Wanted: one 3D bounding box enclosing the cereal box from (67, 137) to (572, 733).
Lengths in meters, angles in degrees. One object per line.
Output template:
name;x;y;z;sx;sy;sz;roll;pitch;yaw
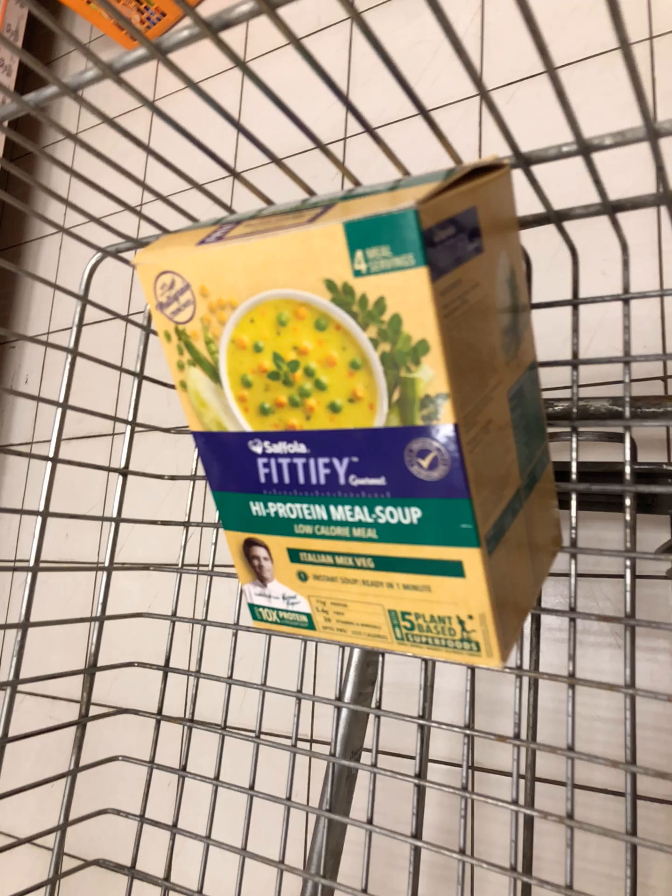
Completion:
cereal box;0.004;-0.006;0.283;0.130;0.090;0.180;0;113;32
